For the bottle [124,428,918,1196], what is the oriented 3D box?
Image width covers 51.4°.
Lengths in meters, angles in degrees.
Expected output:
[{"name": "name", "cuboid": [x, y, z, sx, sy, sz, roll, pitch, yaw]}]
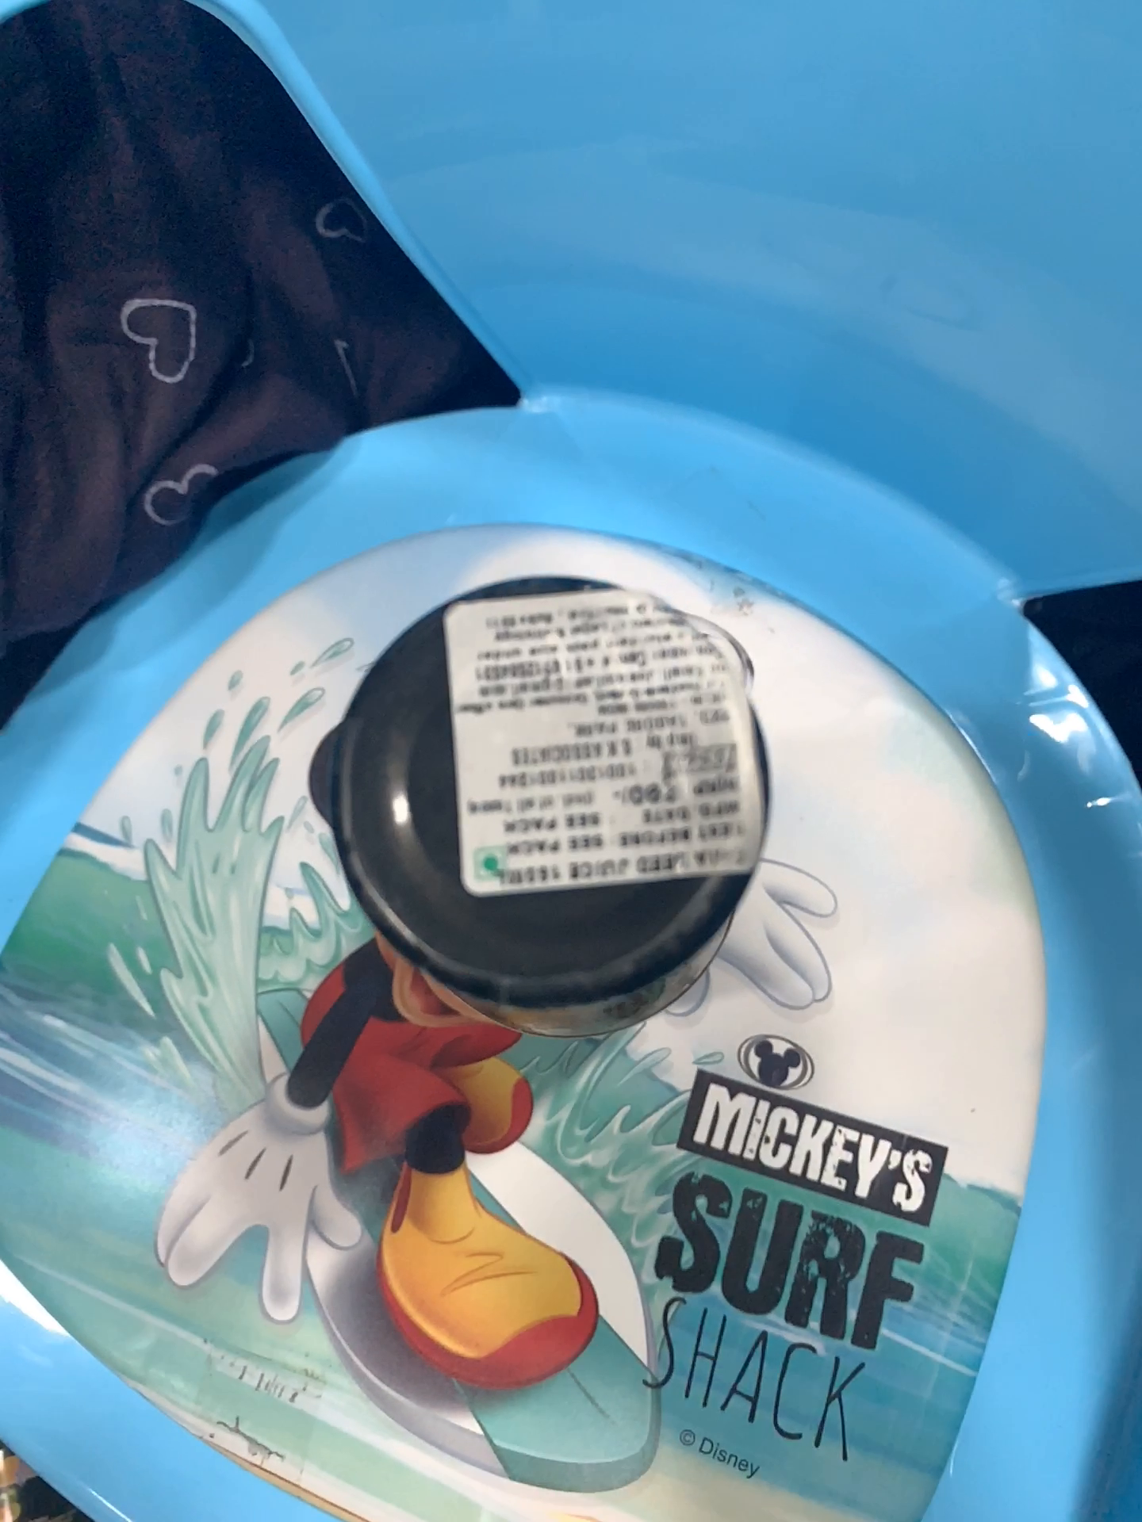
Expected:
[{"name": "bottle", "cuboid": [-0.005, 0.020, 0.167, 0.050, 0.130, 0.050, 0, 73, 0]}]
